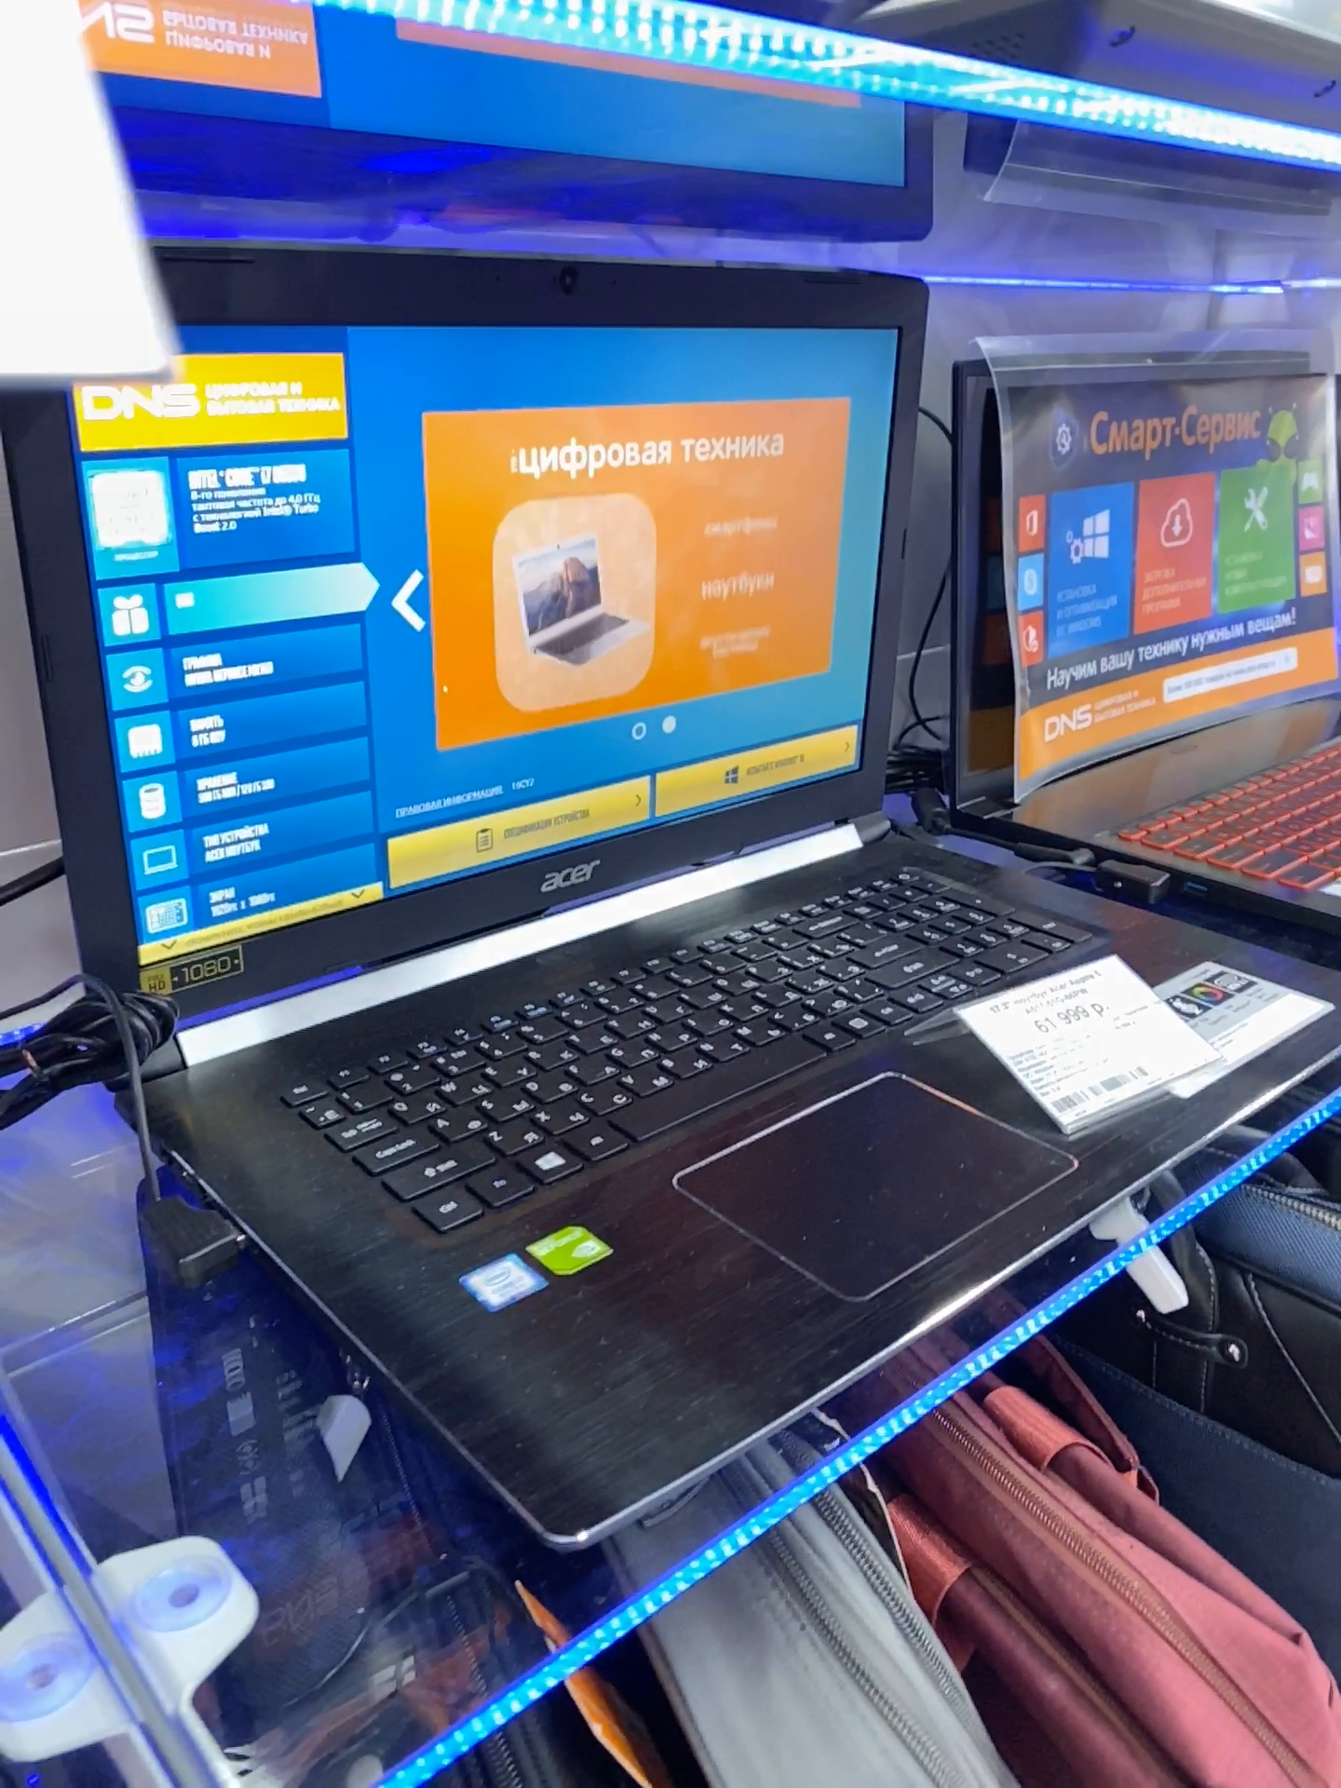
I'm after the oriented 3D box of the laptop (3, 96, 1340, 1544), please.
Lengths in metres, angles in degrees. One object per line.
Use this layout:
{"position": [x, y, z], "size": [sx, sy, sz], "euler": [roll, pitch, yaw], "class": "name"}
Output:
{"position": [0.054, -0.073, 0.478], "size": [0.422, 0.277, 0.273], "euler": [-17, 26, -37], "class": "laptop"}
